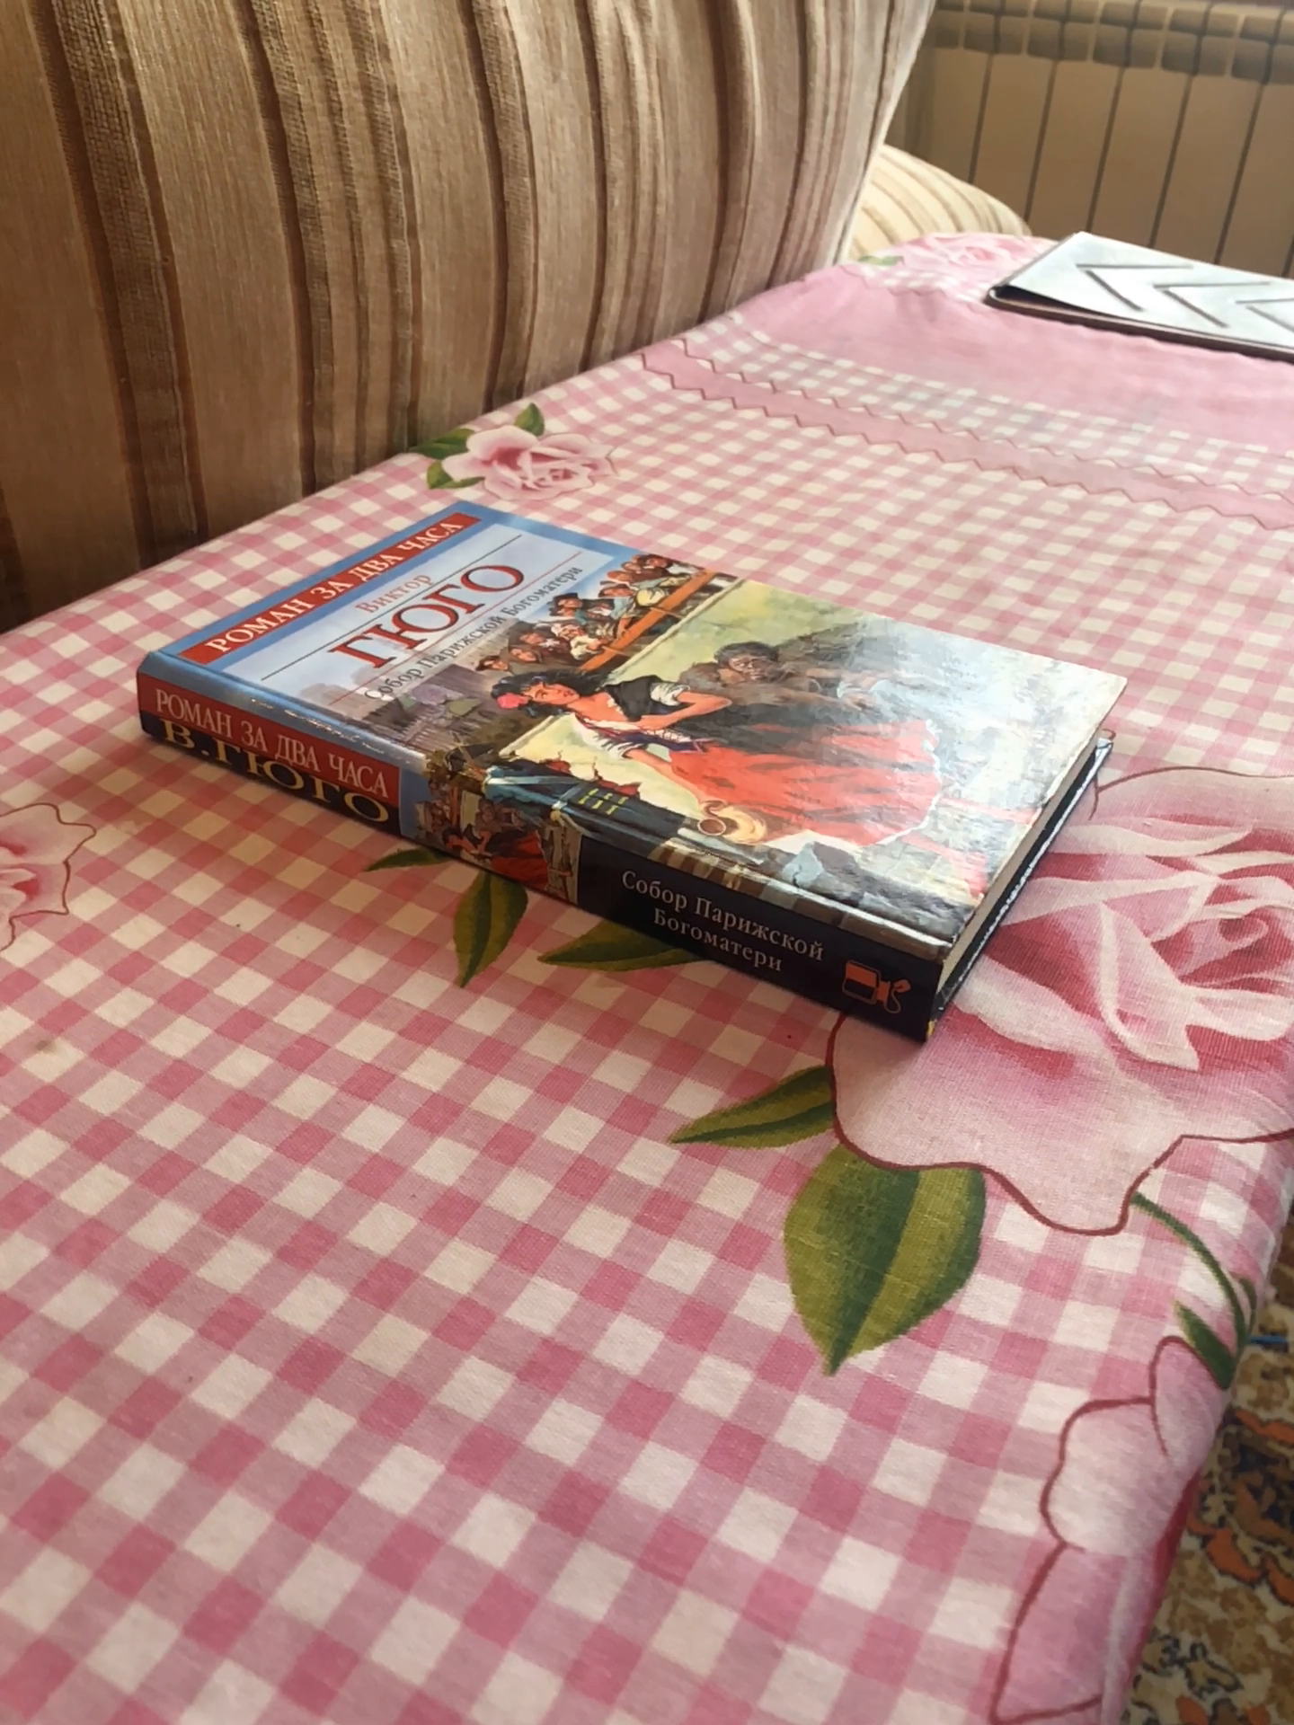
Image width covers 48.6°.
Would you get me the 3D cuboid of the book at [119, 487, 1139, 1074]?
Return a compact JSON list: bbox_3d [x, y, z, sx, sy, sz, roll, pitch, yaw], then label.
[{"bbox_3d":[-0.002,-0.037,0.355,0.207,0.027,0.136,20,39,23],"label":"book"}]
